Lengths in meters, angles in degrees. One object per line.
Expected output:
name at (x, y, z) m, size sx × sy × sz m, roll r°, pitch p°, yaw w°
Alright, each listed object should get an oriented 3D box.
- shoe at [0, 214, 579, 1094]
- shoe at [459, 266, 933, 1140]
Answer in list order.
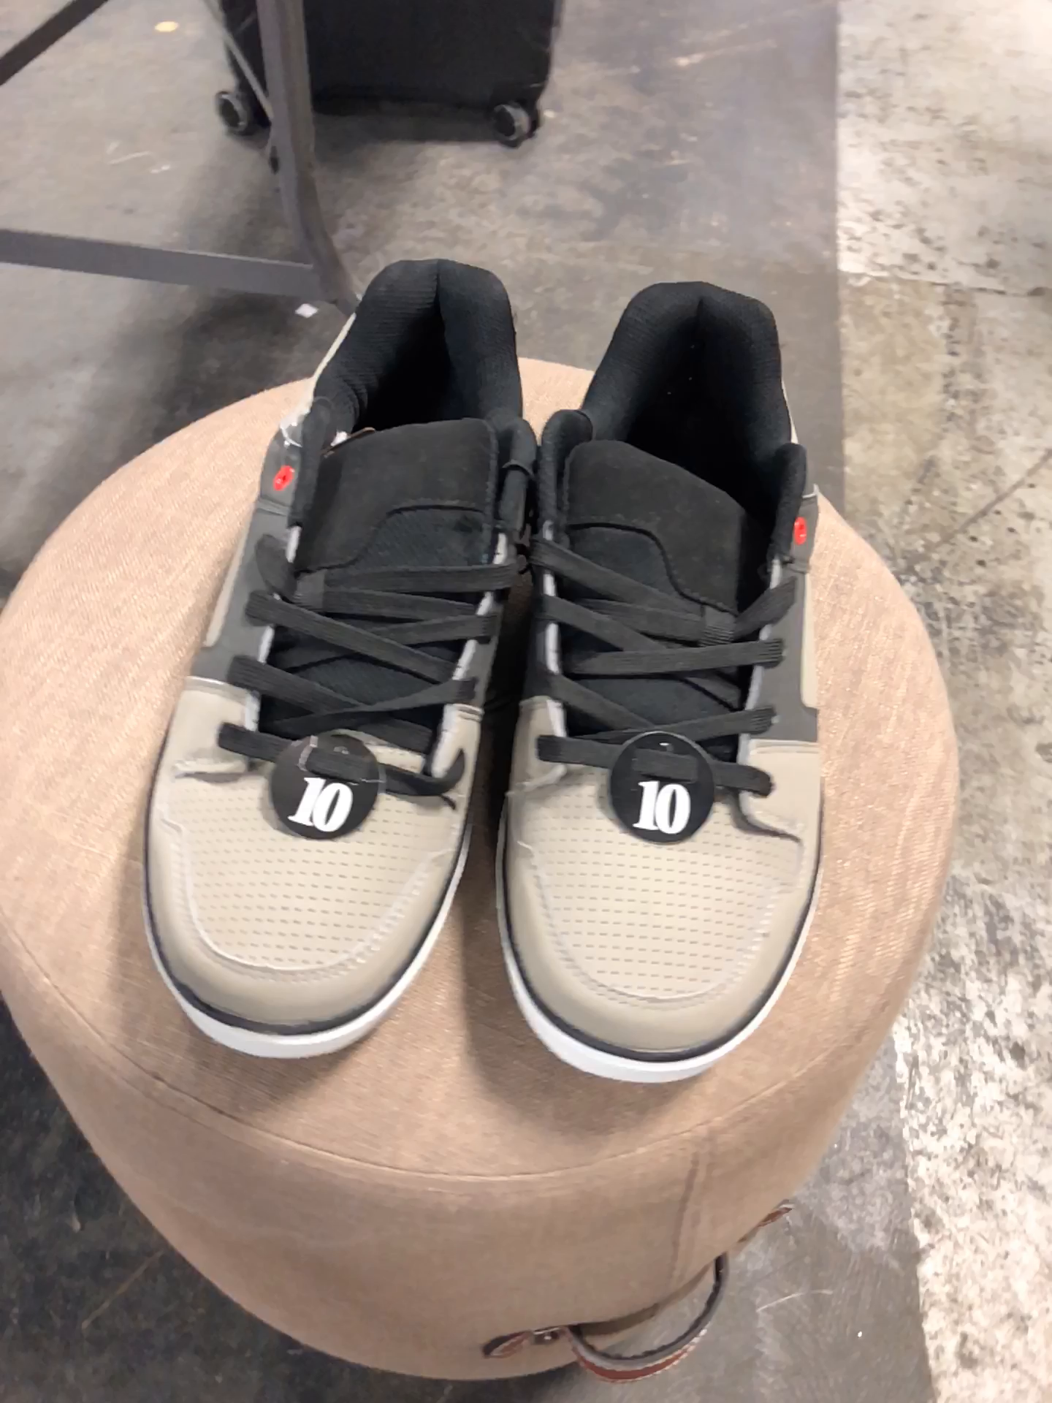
shoe at (-0.064, -0.035, 0.381) m, size 0.120 × 0.089 × 0.282 m, roll 9°, pitch 54°, yaw 3°
shoe at (0.059, -0.019, 0.388) m, size 0.110 × 0.089 × 0.282 m, roll 9°, pitch 54°, yaw 3°
